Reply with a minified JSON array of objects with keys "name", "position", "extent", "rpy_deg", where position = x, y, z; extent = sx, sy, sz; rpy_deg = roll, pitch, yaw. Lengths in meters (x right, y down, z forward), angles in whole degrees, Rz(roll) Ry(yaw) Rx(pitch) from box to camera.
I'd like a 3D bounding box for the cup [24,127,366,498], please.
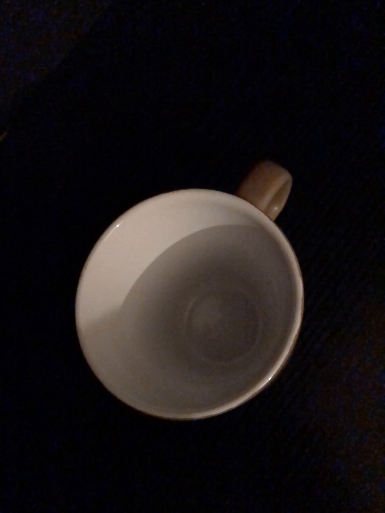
[{"name":"cup","position":[0.007,0.023,0.194],"extent":[0.080,0.082,0.107],"rpy_deg":[29,82,18]}]
